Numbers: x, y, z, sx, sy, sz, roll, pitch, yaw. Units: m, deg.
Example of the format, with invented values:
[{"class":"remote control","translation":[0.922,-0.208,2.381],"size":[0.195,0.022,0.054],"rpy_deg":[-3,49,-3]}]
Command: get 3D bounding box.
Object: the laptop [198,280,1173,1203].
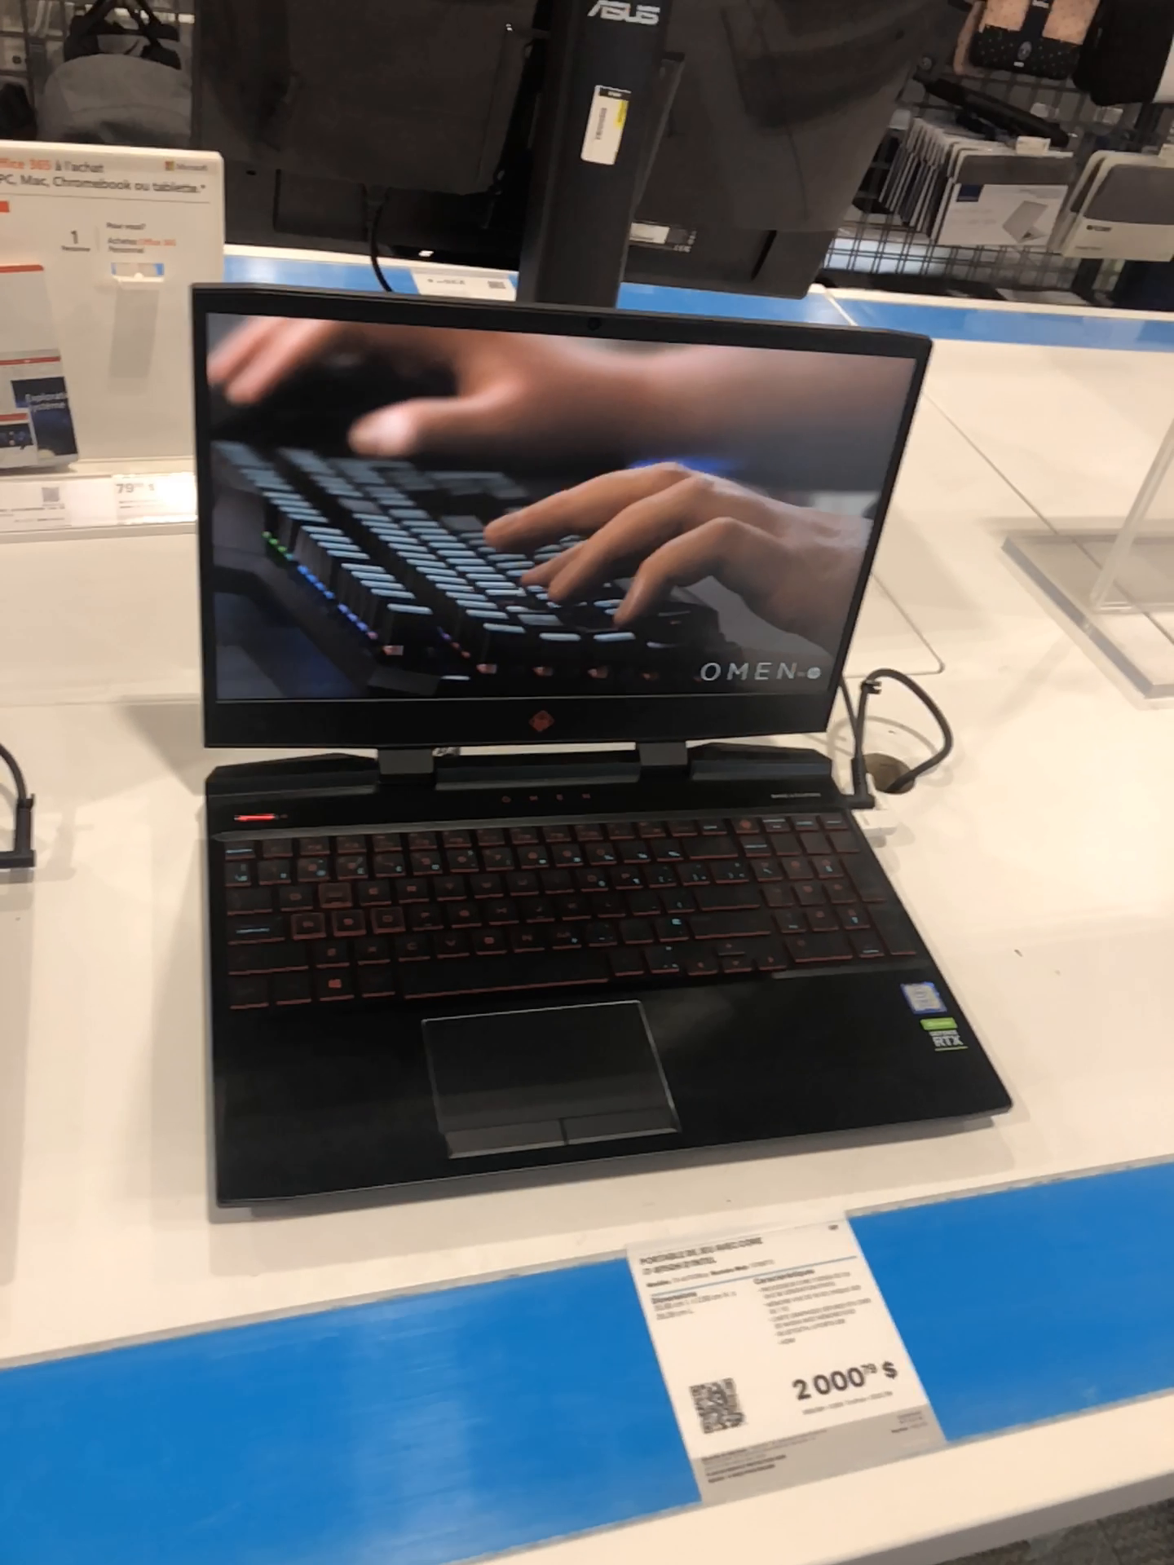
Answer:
[{"class":"laptop","translation":[0.014,-0.034,0.585],"size":[0.355,0.239,0.294],"rpy_deg":[-2,43,-17]}]
